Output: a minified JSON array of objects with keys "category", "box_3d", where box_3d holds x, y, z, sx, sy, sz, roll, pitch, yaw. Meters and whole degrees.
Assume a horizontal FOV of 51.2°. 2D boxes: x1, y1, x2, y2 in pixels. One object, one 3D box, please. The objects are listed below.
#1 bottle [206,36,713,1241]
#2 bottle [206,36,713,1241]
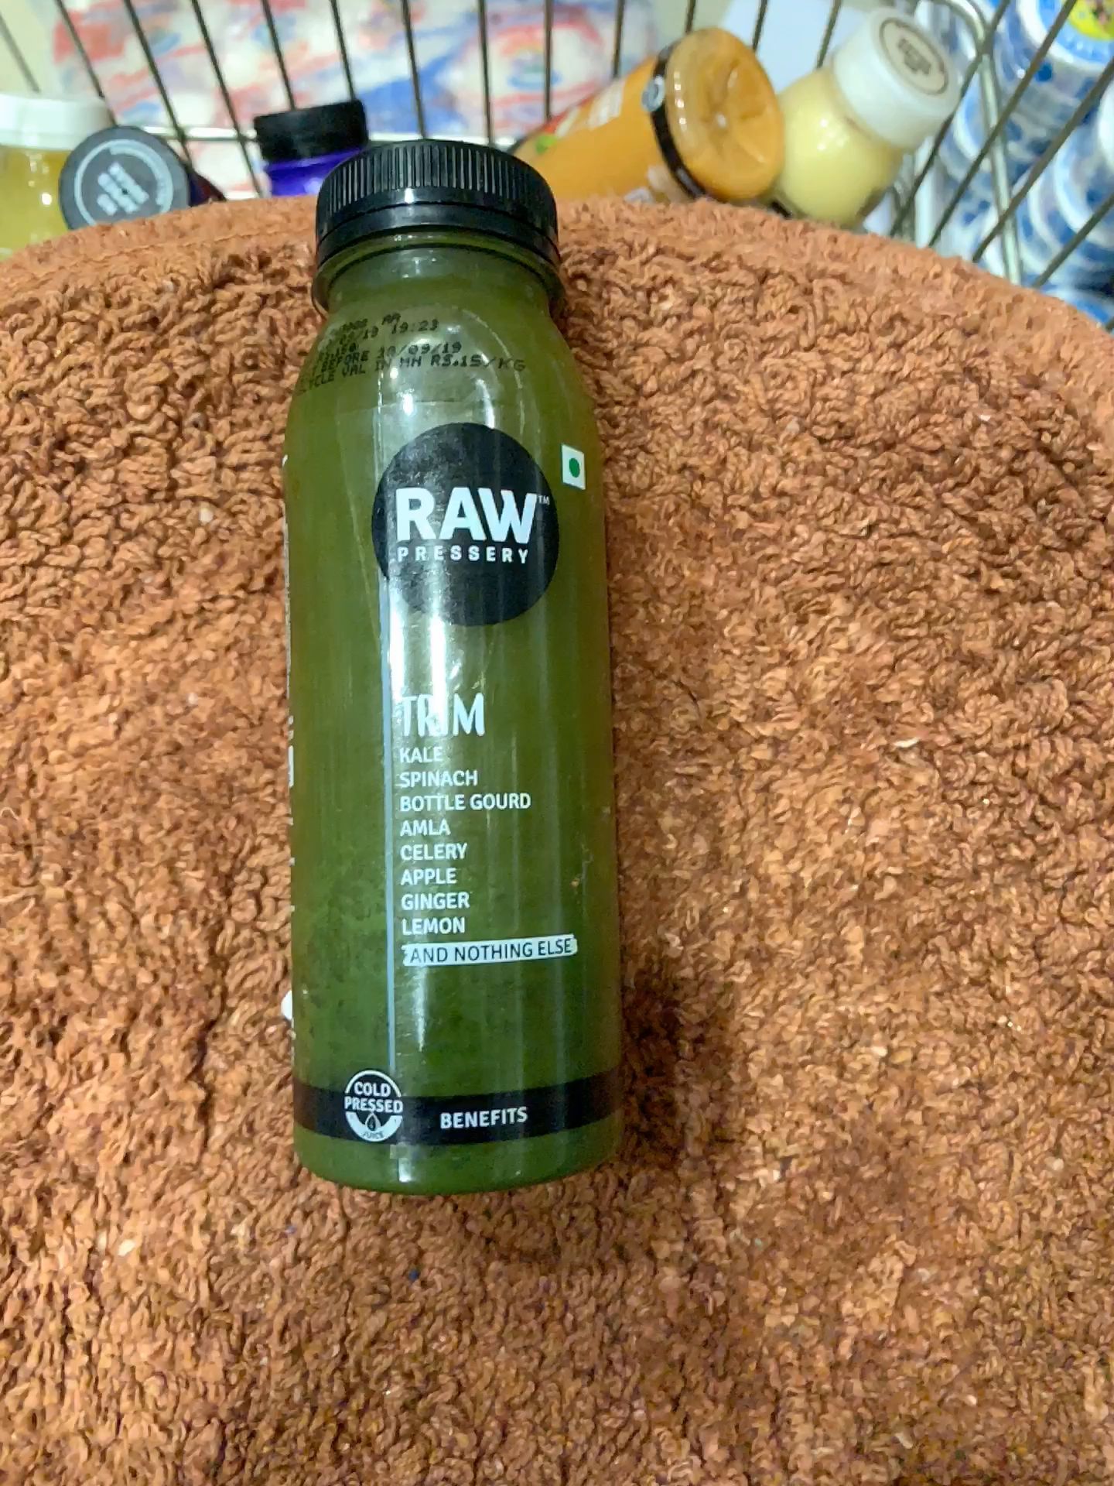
[{"category":"bottle","box_3d":[-0.016,-0.014,0.172,0.060,0.050,0.150,1,83,-10]},{"category":"bottle","box_3d":[-0.016,-0.014,0.172,0.060,0.050,0.150,1,83,-10]}]
